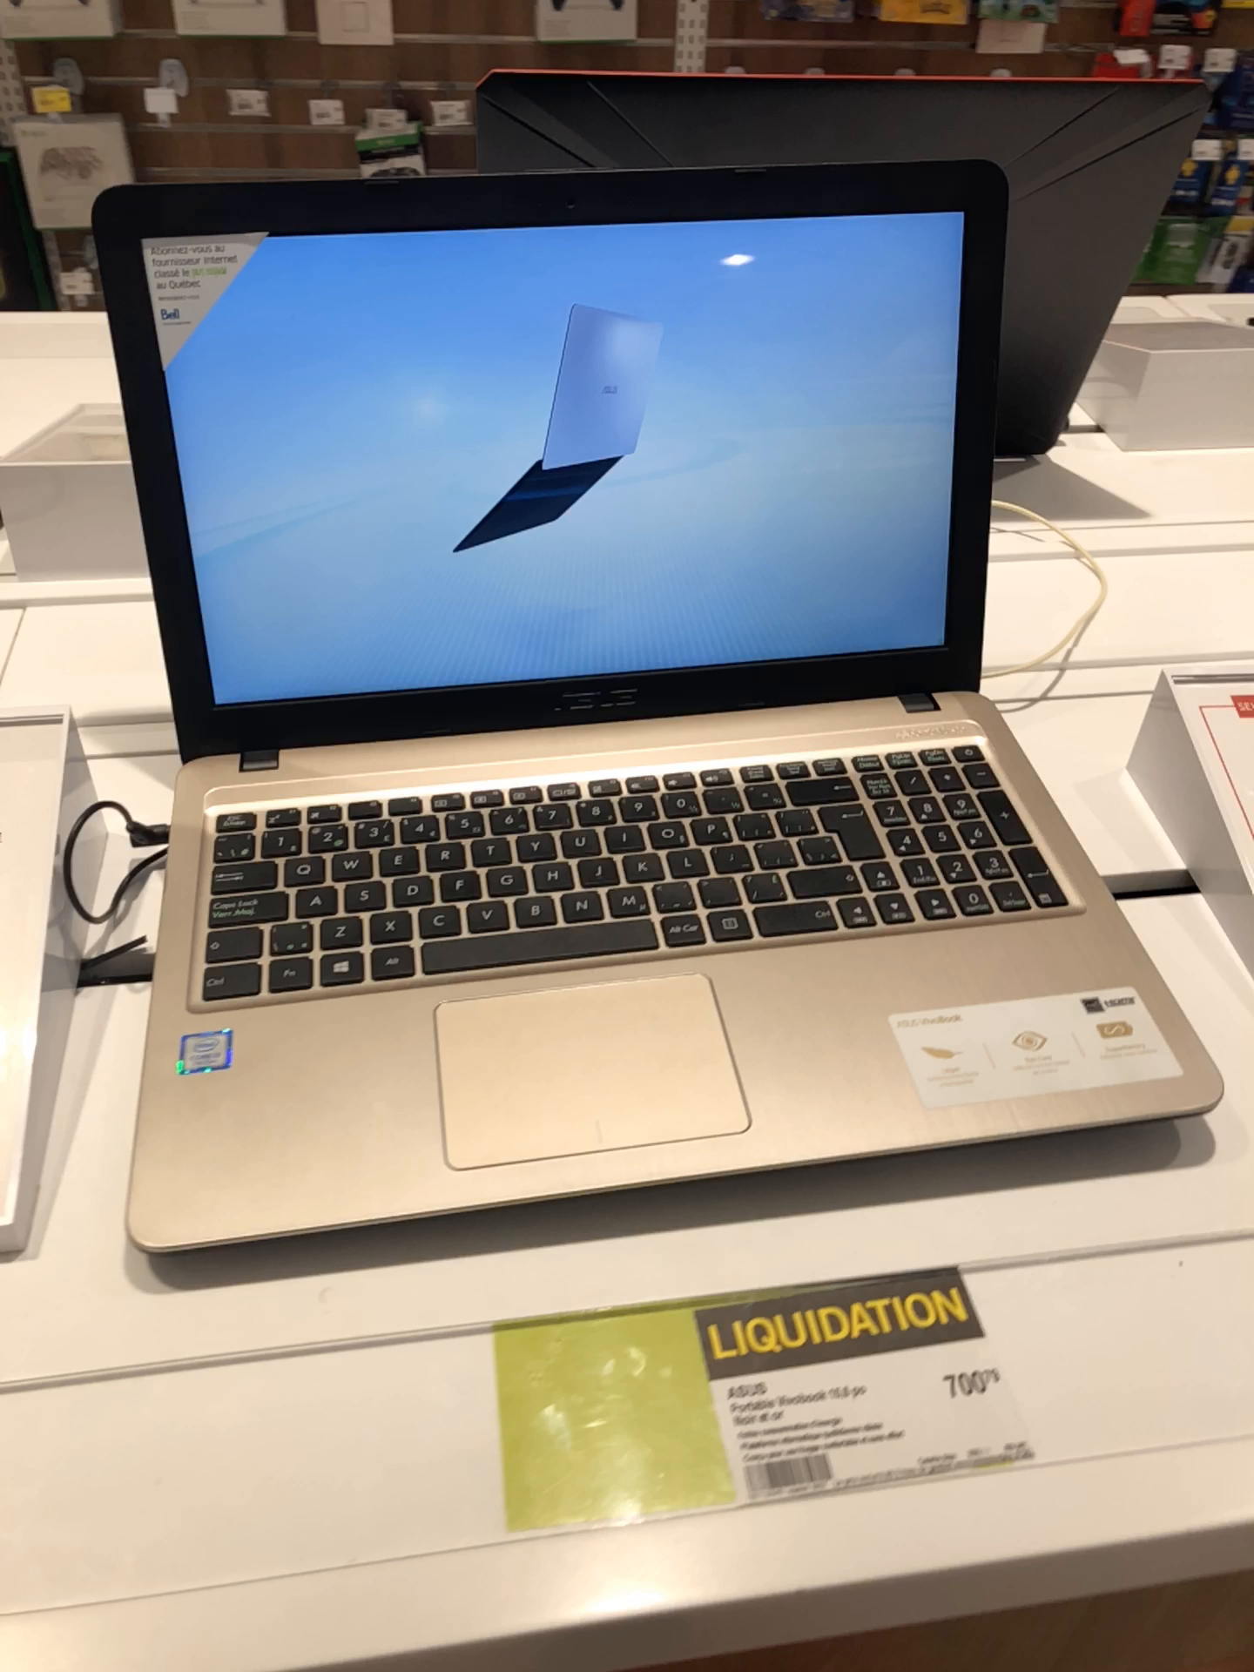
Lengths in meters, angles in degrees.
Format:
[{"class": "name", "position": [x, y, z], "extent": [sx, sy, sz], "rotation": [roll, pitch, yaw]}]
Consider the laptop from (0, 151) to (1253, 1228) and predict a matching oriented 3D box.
[{"class": "laptop", "position": [0.001, -0.087, 0.524], "extent": [0.370, 0.204, 0.339], "rotation": [-5, 44, -9]}]
